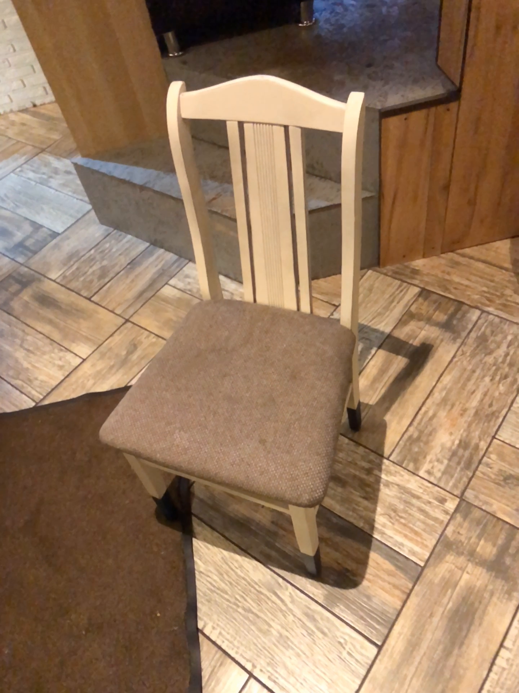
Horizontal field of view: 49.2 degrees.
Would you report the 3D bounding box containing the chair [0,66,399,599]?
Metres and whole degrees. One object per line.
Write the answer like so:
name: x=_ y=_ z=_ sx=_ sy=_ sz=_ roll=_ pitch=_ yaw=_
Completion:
chair: x=-0.038 y=0.021 z=1.154 sx=0.479 sy=0.916 sz=0.521 roll=13 pitch=53 yaw=21
